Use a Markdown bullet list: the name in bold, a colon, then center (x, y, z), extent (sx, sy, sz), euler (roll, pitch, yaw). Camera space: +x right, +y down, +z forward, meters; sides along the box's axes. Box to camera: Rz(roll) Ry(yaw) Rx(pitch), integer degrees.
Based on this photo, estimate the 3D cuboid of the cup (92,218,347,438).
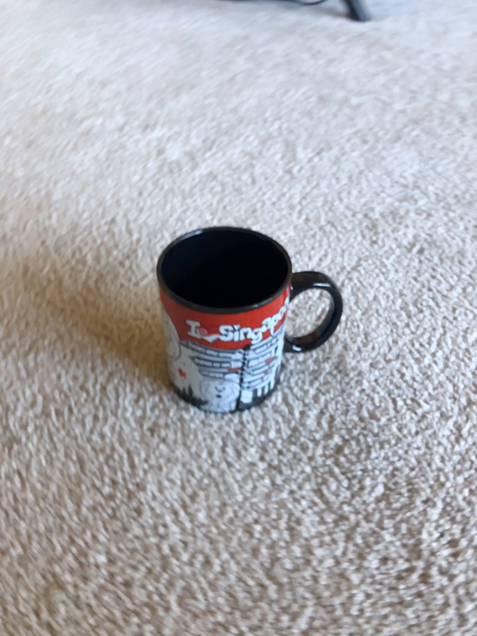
- **cup**: center (-0.013, 0.005, 0.337), extent (0.130, 0.090, 0.090), euler (-5, 44, -5)
